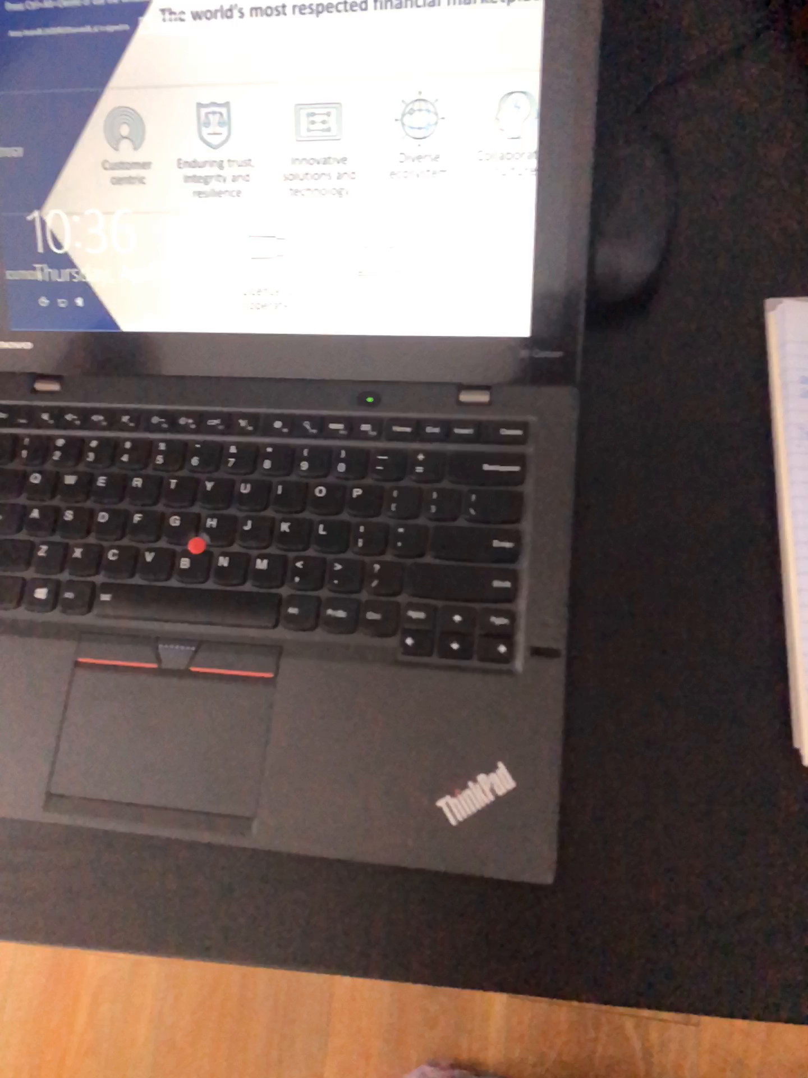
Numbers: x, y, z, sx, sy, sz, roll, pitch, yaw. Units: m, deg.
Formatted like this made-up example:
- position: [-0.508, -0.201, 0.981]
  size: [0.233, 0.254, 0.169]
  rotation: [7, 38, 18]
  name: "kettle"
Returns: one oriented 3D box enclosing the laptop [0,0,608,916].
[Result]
- position: [-0.088, -0.075, 0.383]
  size: [0.322, 0.117, 0.388]
  rotation: [4, 74, 10]
  name: "laptop"
